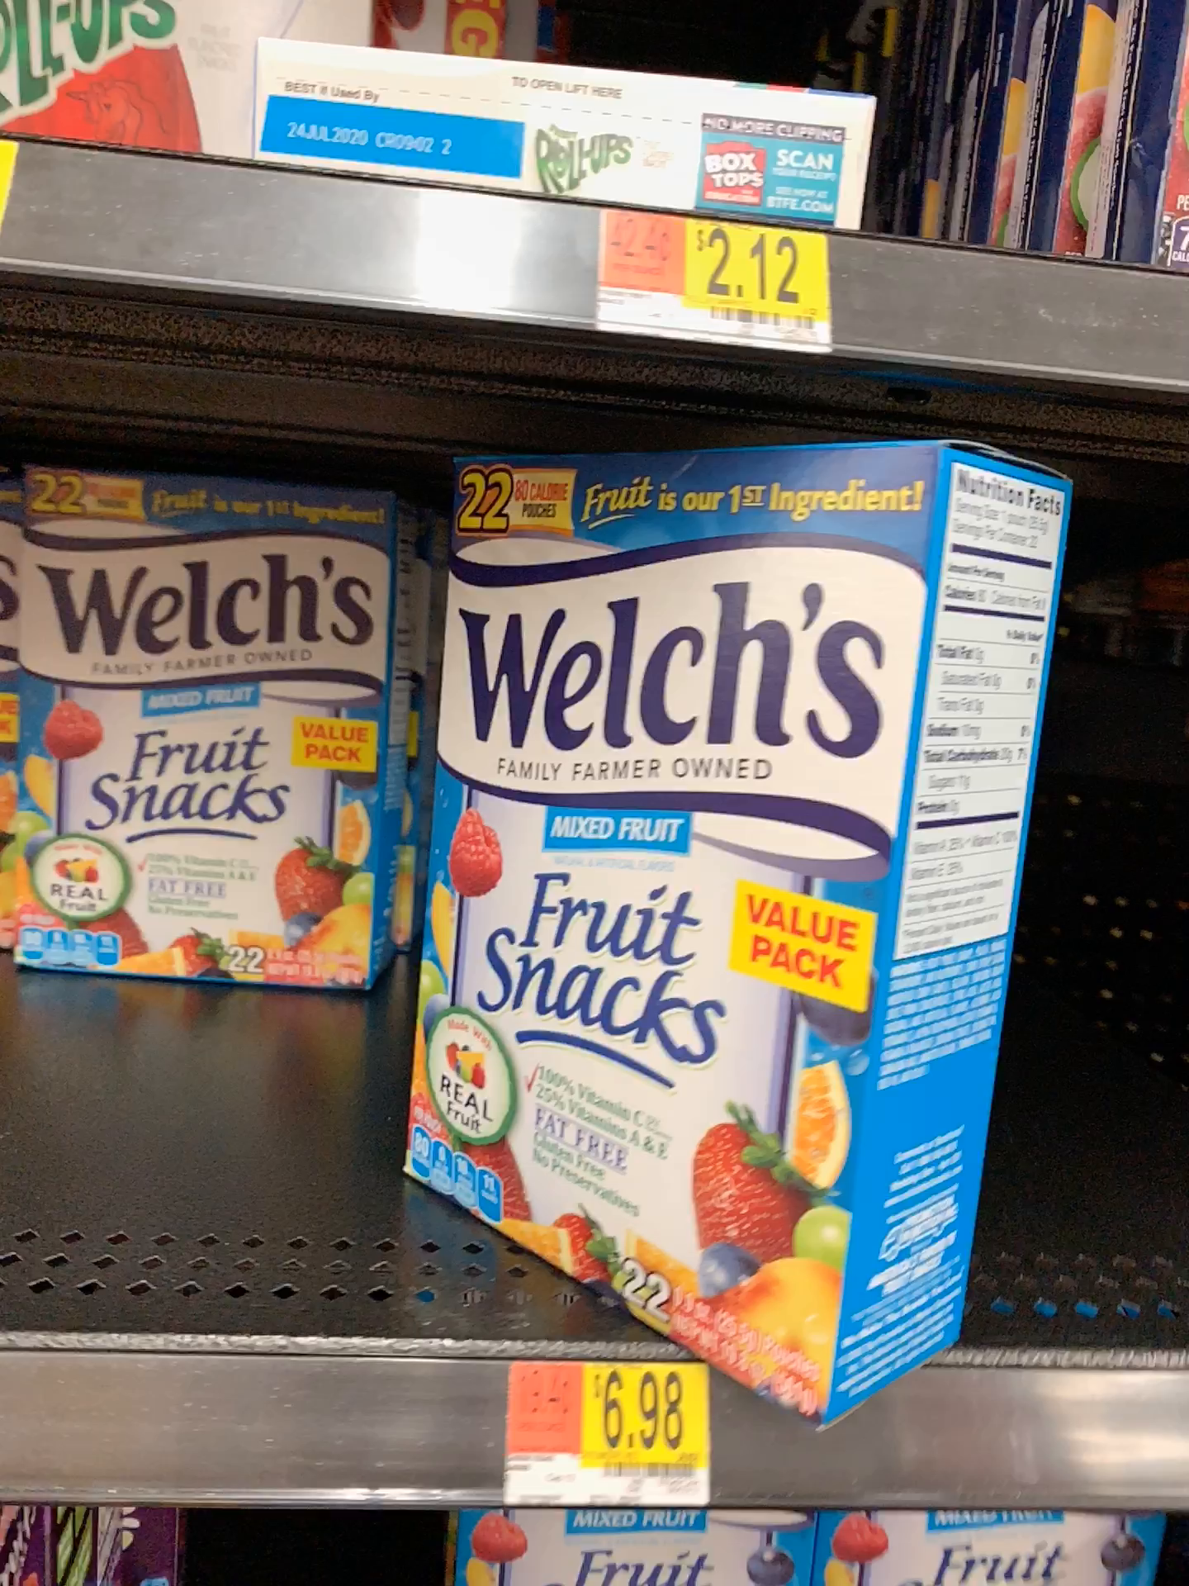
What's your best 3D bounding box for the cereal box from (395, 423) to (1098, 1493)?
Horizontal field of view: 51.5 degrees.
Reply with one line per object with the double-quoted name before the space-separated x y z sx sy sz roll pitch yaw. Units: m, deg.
"cereal box" 0.027 0.026 0.337 0.170 0.230 0.060 12 11 44
